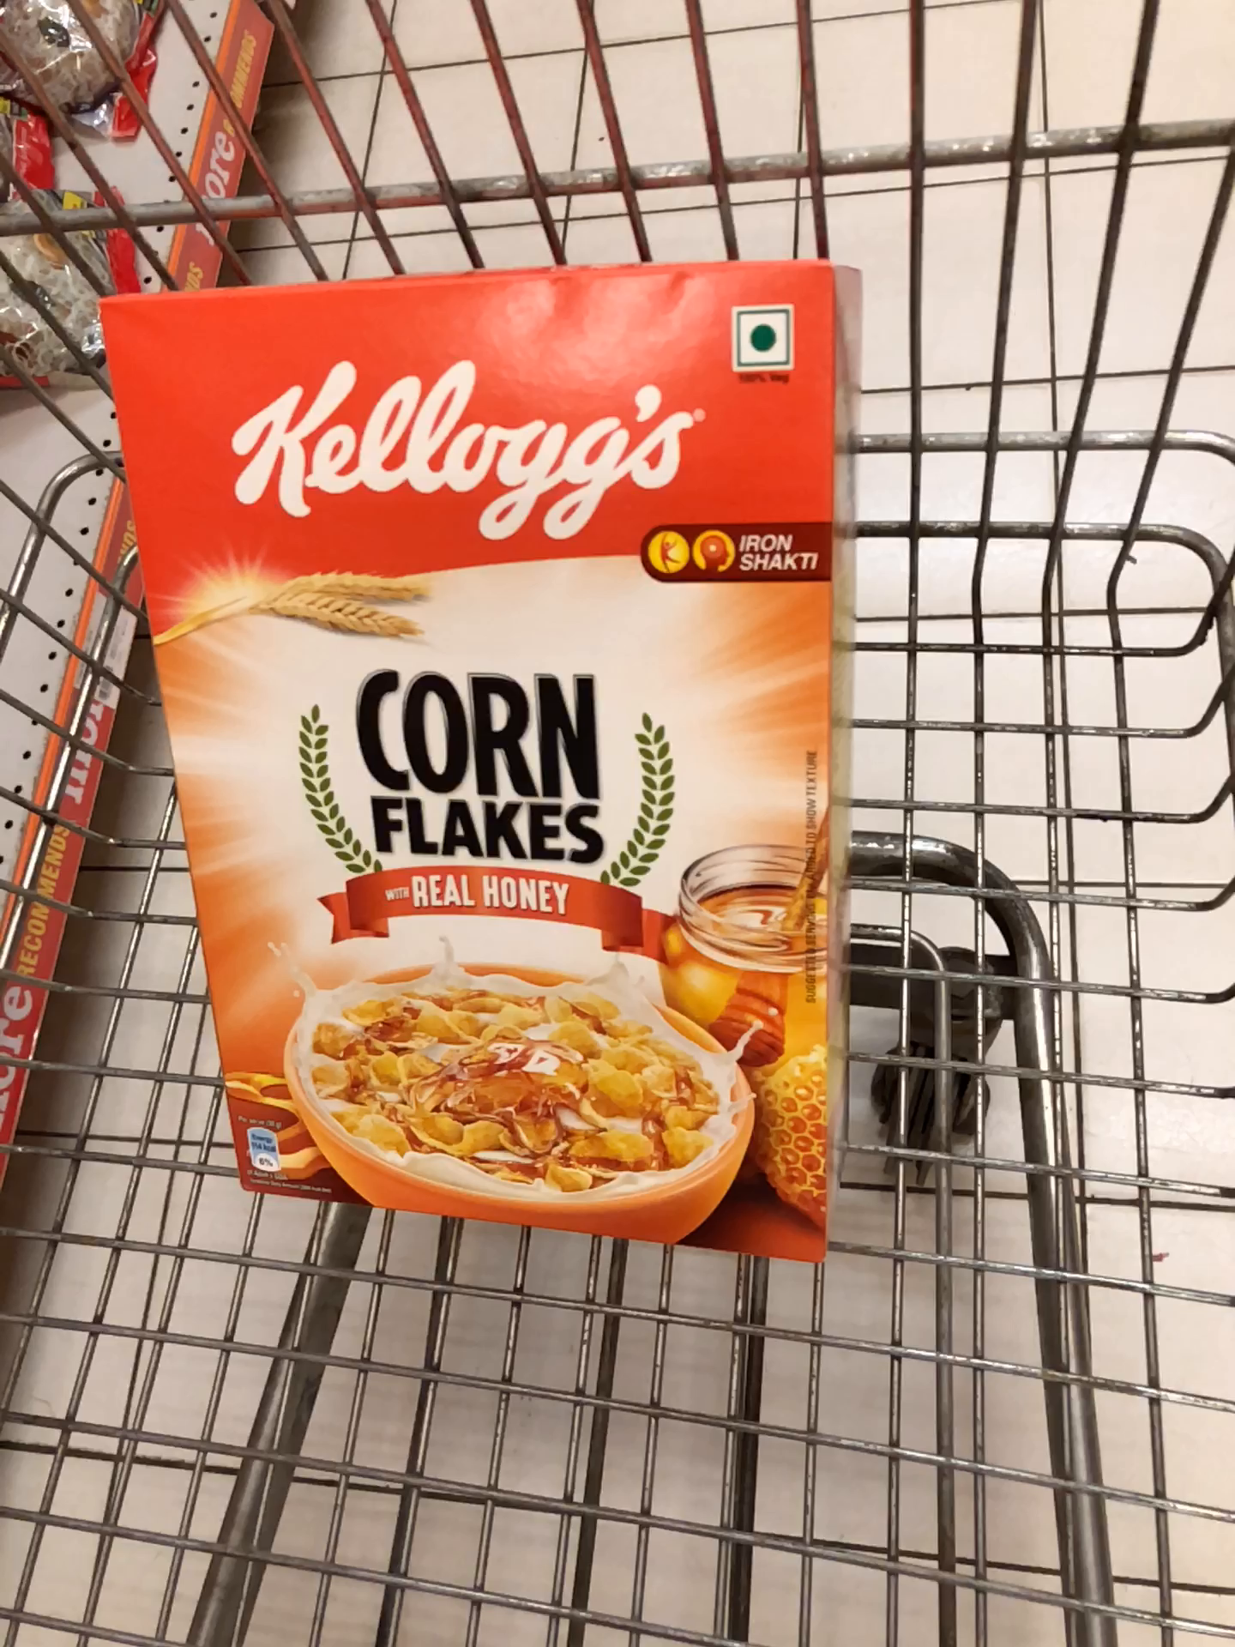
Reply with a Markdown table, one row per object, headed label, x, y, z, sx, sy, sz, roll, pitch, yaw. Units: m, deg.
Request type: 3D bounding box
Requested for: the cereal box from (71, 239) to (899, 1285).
| label | x | y | z | sx | sy | sz | roll | pitch | yaw |
| --- | --- | --- | --- | --- | --- | --- | --- | --- | --- |
| cereal box | -0.024 | -0.016 | 0.381 | 0.190 | 0.080 | 0.259 | 3 | 110 | 14 |
